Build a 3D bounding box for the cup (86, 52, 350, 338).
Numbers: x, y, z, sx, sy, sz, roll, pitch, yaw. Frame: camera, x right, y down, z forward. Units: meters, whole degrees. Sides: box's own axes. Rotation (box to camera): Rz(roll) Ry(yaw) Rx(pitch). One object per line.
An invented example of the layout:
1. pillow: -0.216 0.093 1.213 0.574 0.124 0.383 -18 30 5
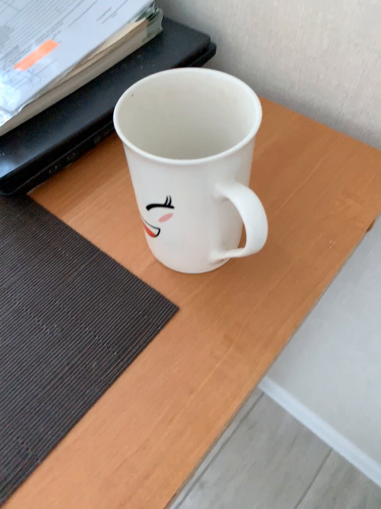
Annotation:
1. cup: 0.008 -0.034 0.225 0.080 0.095 0.107 -26 59 -16
